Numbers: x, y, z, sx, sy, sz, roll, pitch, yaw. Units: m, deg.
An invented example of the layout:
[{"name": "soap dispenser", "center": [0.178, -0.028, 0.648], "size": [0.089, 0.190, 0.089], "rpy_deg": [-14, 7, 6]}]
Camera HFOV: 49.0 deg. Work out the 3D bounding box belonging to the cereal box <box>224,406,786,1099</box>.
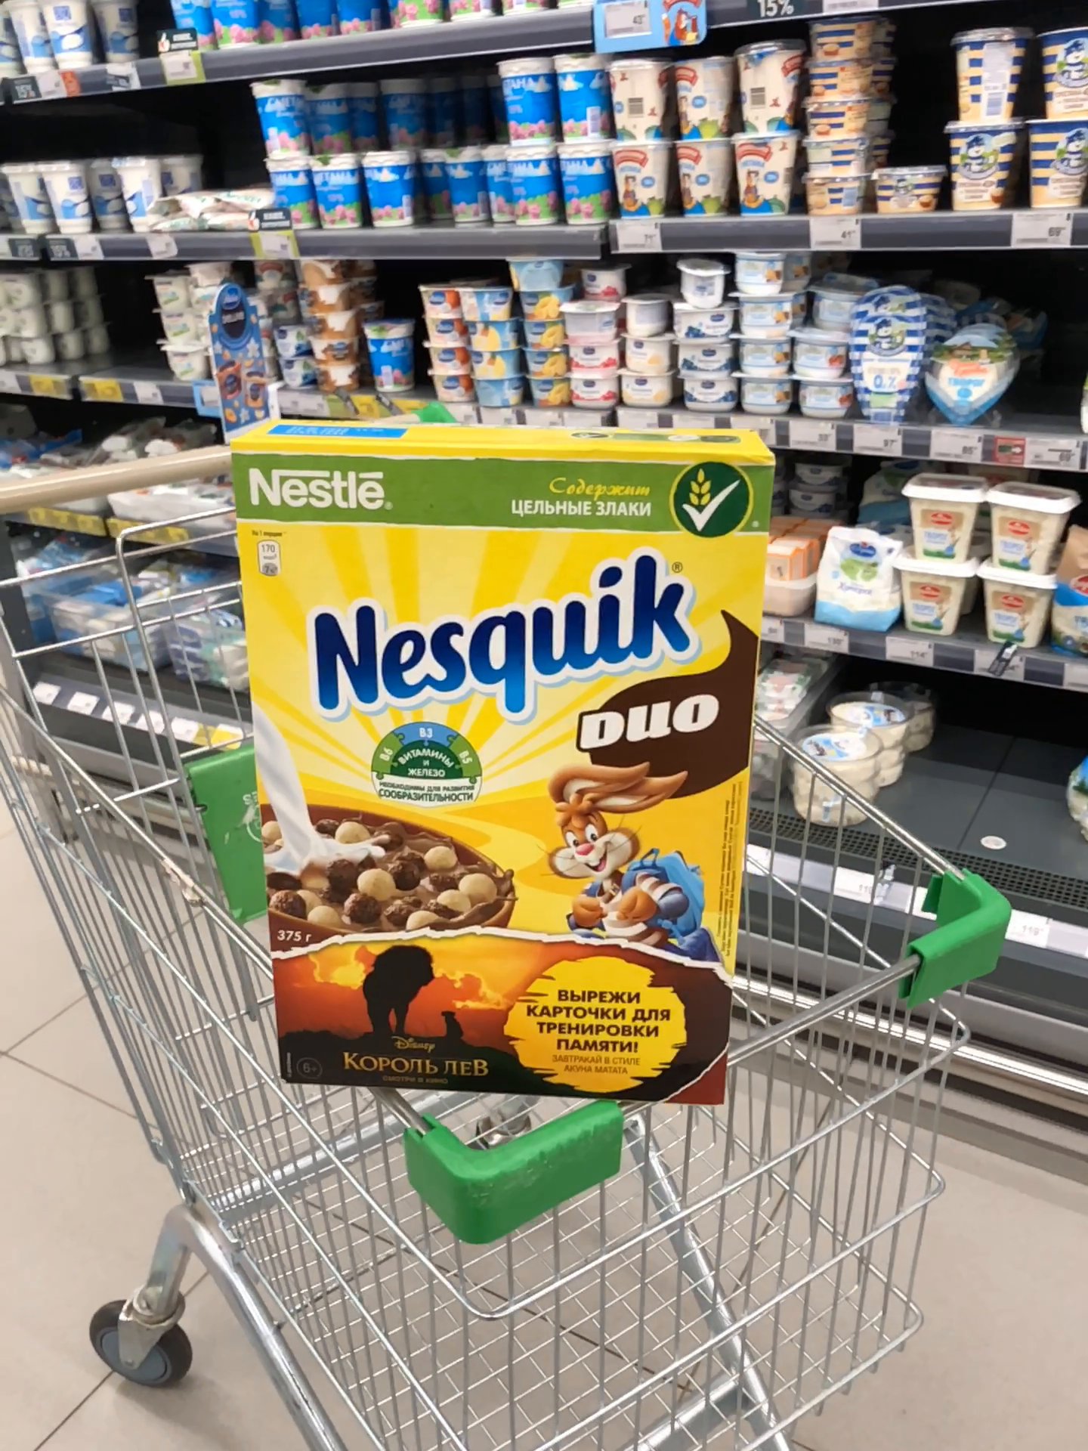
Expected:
[{"name": "cereal box", "center": [-0.015, 0.015, 0.499], "size": [0.200, 0.279, 0.060], "rpy_deg": [2, 20, 4]}]
